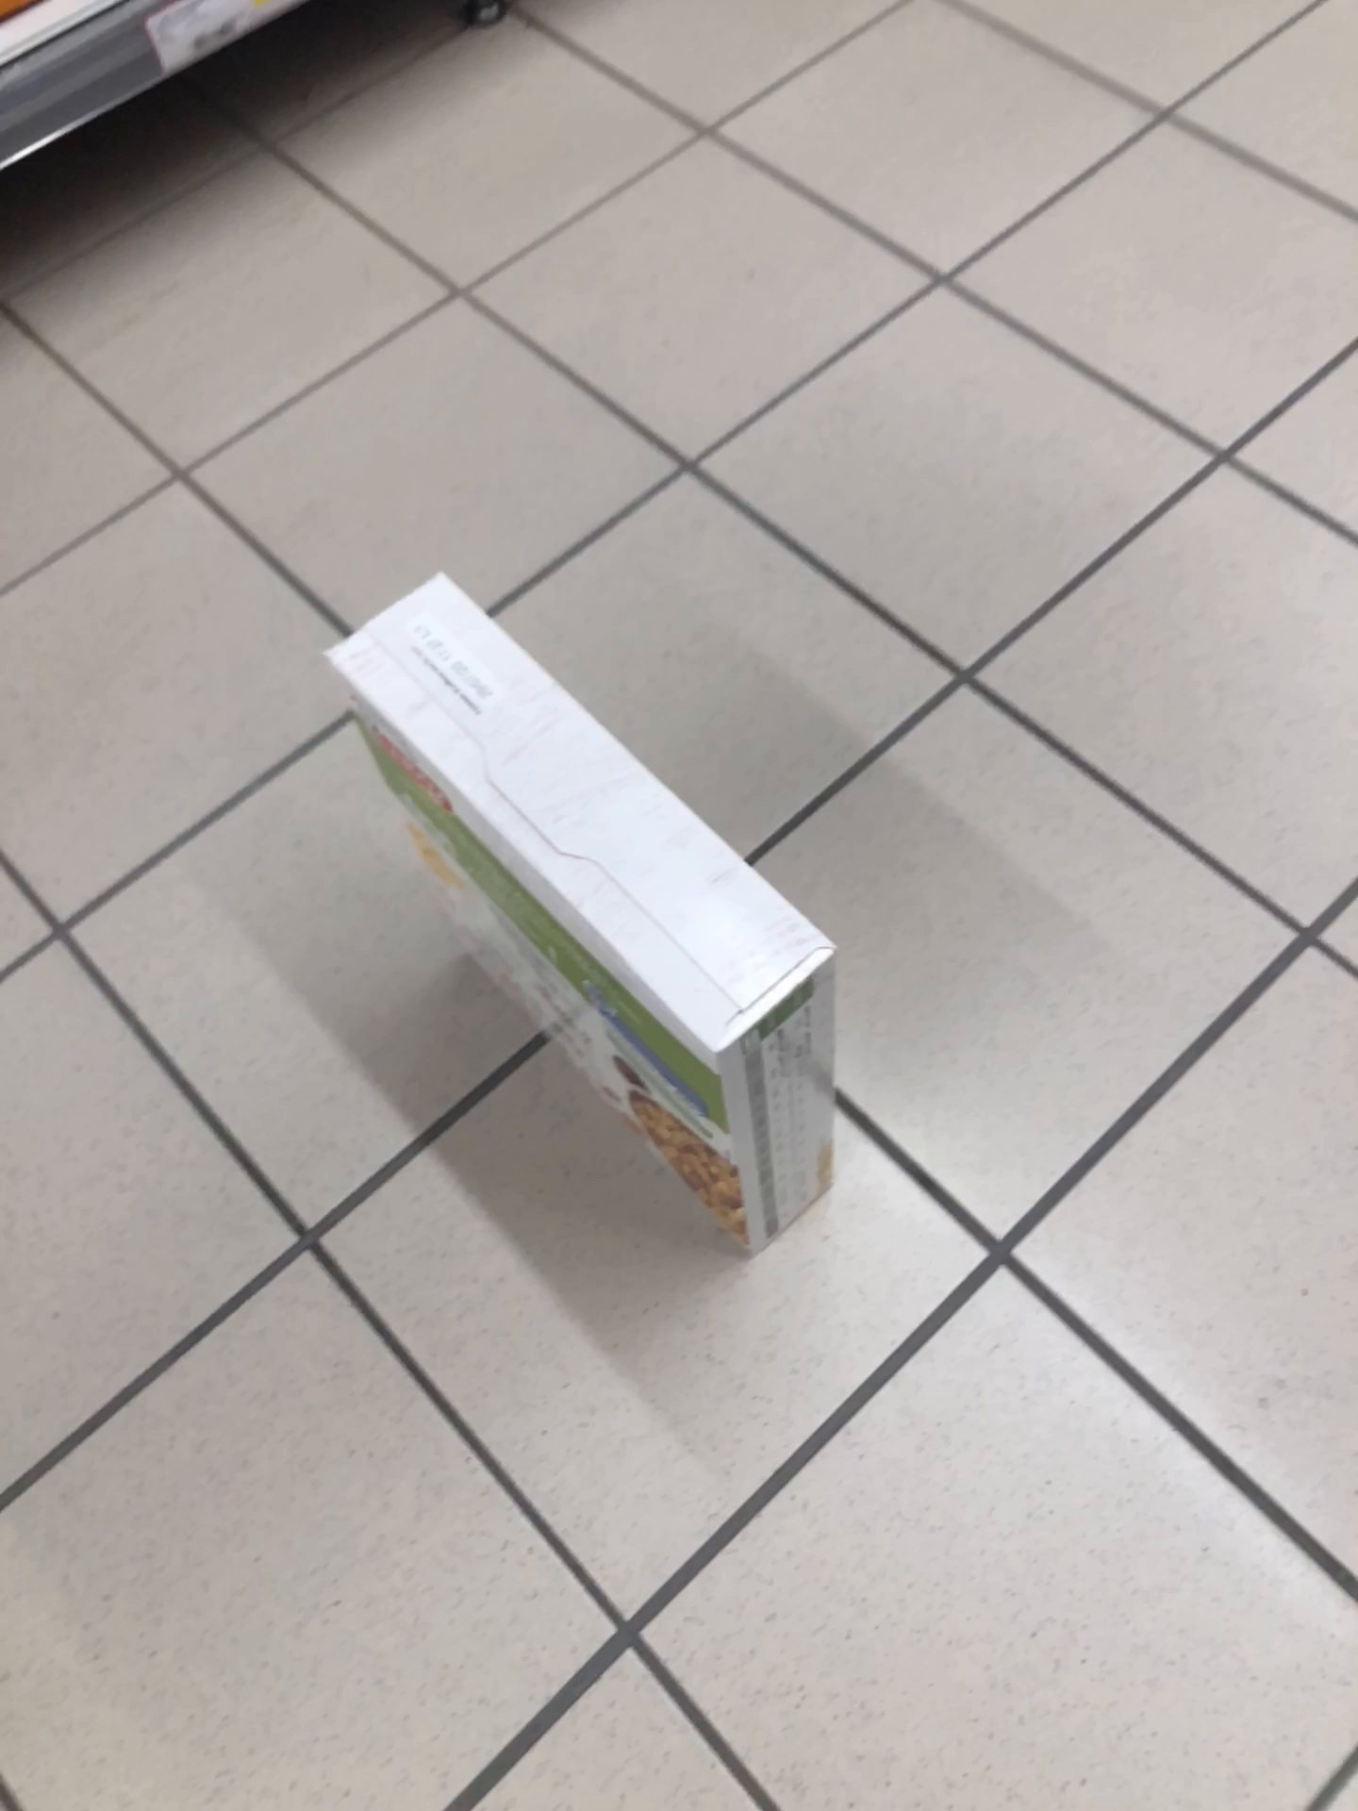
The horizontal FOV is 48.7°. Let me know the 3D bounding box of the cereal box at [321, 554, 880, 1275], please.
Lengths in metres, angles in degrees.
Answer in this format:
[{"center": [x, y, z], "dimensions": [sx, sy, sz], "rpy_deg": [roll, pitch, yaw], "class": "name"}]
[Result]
[{"center": [-0.021, 0.016, 0.552], "dimensions": [0.060, 0.229, 0.190], "rpy_deg": [-40, 66, -16], "class": "cereal box"}]
